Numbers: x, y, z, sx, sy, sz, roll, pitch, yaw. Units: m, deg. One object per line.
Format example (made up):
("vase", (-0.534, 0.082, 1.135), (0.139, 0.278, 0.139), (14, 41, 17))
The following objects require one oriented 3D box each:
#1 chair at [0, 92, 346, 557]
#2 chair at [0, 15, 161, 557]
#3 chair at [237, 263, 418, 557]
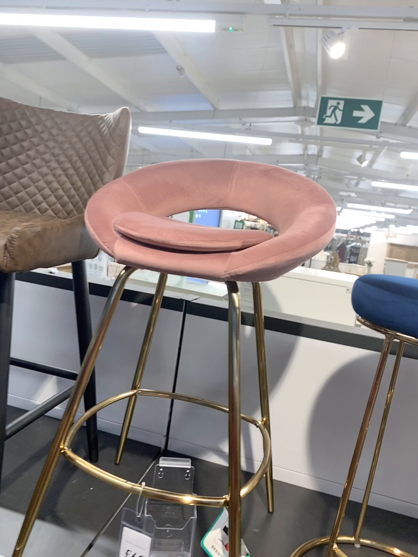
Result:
("chair", (-0.045, 0.137, 0.905), (0.492, 0.858, 0.462), (10, 7, 18))
("chair", (-0.481, 0.017, 0.995), (0.502, 0.958, 0.452), (9, 7, 11))
("chair", (0.372, 0.325, 0.770), (0.462, 0.619, 0.432), (10, 7, 18))
